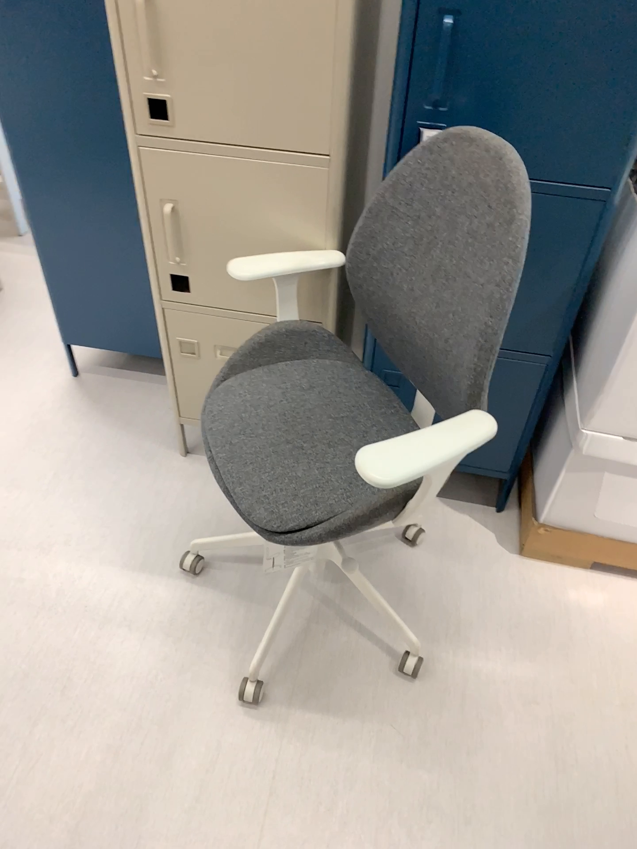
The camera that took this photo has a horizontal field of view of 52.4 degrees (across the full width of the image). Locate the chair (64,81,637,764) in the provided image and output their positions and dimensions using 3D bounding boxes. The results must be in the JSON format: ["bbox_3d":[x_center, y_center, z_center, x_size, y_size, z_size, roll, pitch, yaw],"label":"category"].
[{"bbox_3d":[0.023,0.008,1.239,0.670,0.996,0.652,-15,46,-18],"label":"chair"}]
